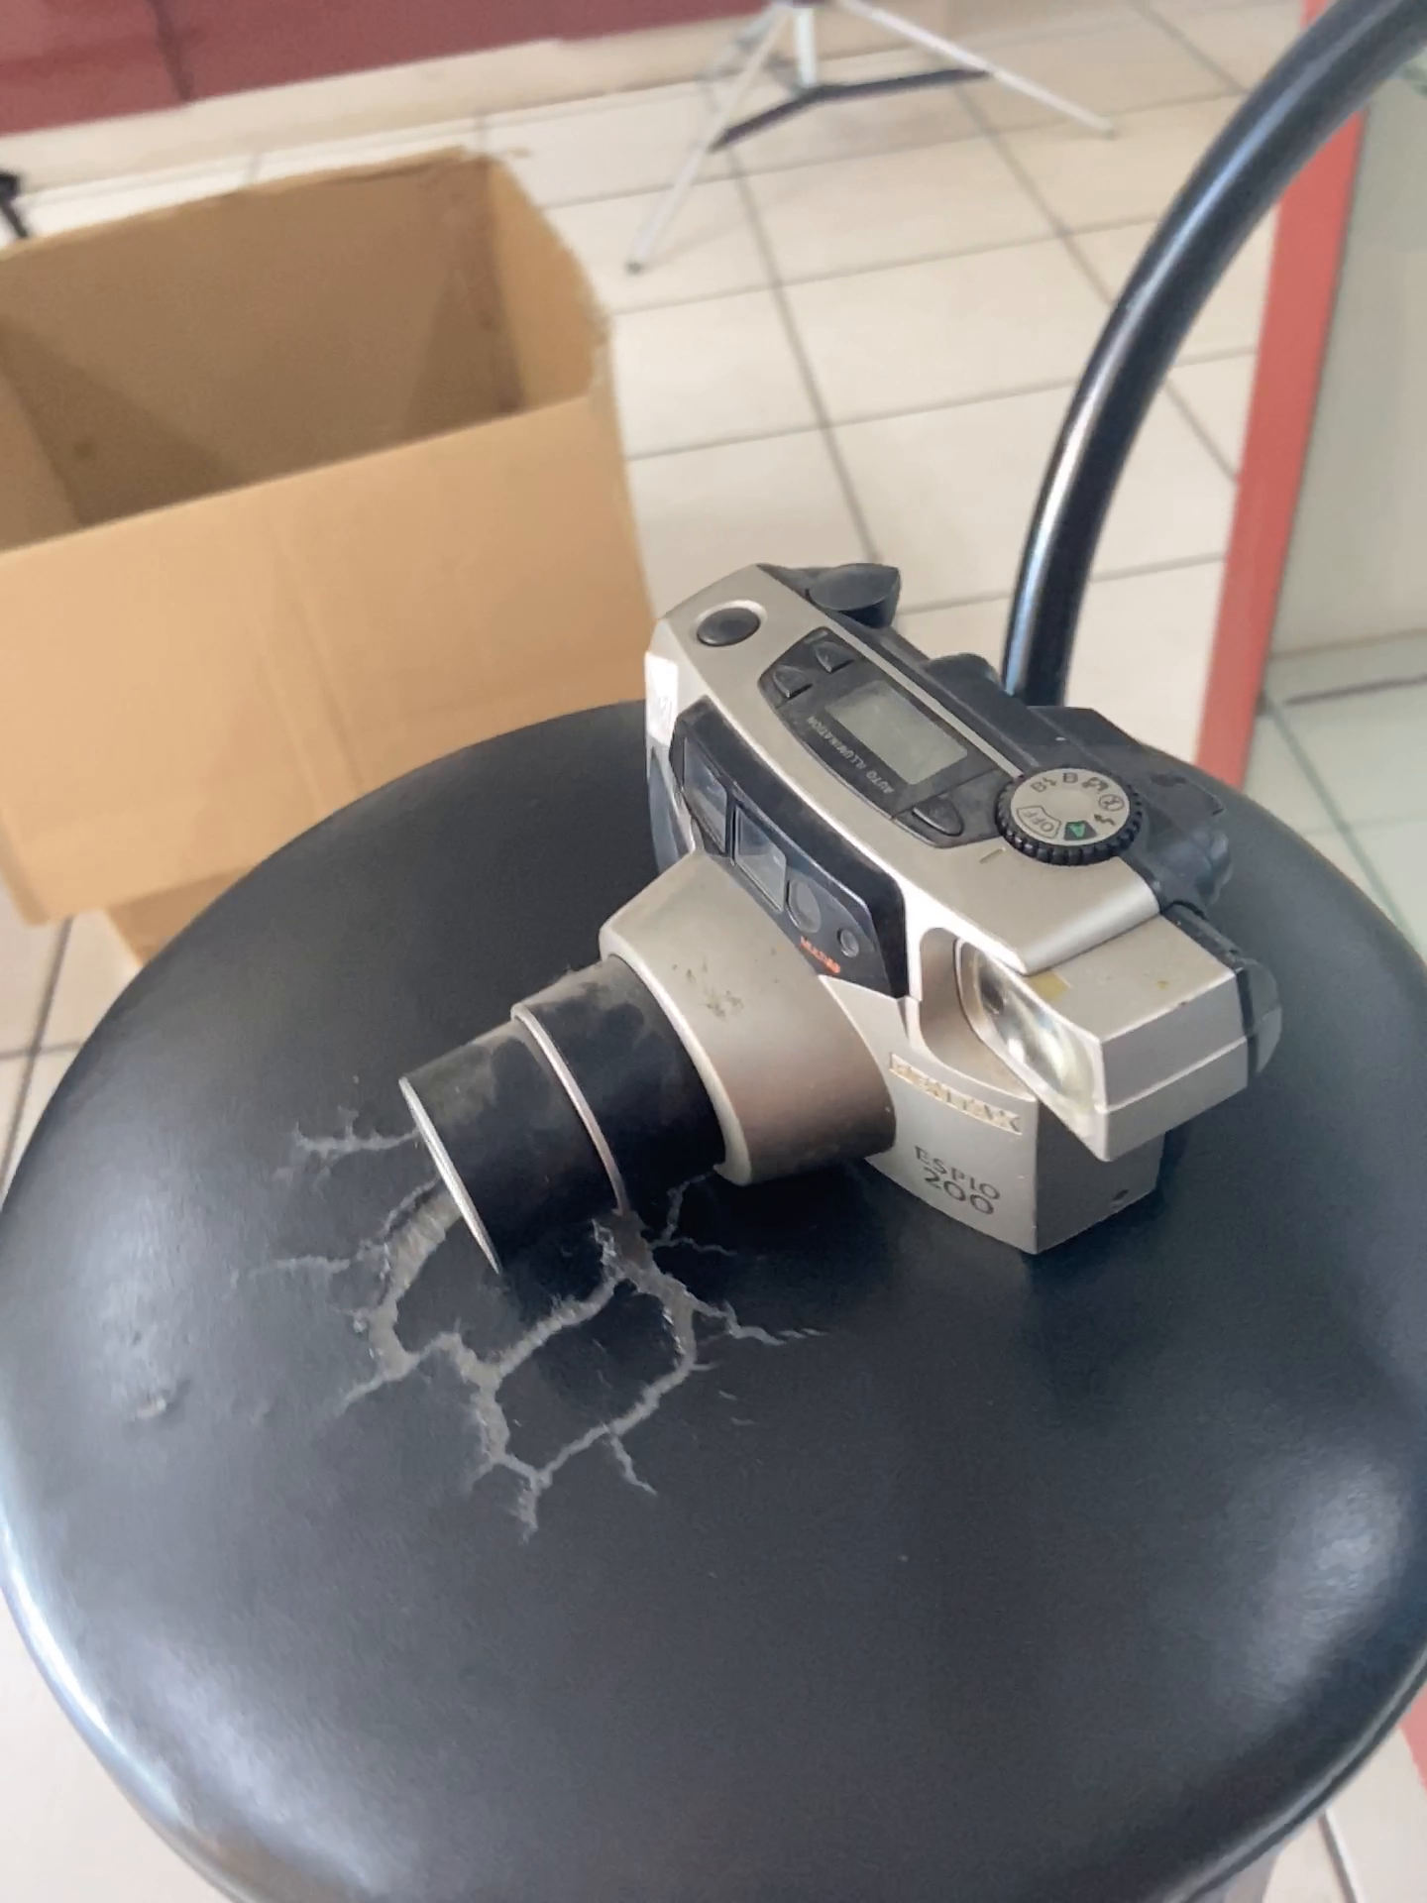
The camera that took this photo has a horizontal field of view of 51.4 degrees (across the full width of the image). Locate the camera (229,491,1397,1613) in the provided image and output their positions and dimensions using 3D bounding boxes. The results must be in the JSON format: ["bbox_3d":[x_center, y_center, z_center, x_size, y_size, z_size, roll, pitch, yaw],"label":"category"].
[{"bbox_3d":[0.011,0.005,0.249,0.120,0.080,0.130,-30,49,-18],"label":"camera"}]
